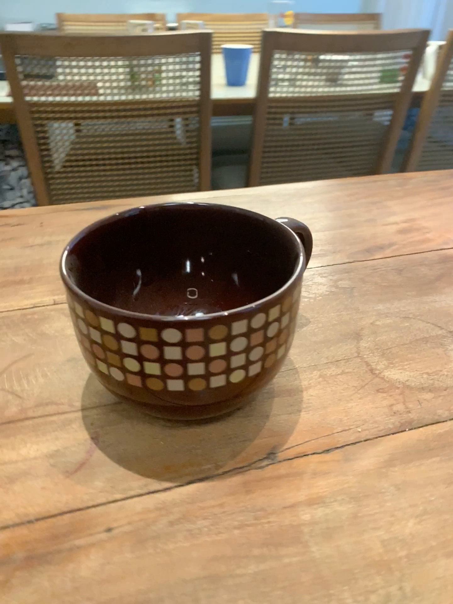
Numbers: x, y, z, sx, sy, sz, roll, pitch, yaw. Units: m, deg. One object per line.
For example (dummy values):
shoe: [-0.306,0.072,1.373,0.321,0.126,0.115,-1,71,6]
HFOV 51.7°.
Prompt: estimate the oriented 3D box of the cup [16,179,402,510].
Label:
cup: [-0.006,0.002,0.300,0.180,0.089,0.141,-27,42,-36]
